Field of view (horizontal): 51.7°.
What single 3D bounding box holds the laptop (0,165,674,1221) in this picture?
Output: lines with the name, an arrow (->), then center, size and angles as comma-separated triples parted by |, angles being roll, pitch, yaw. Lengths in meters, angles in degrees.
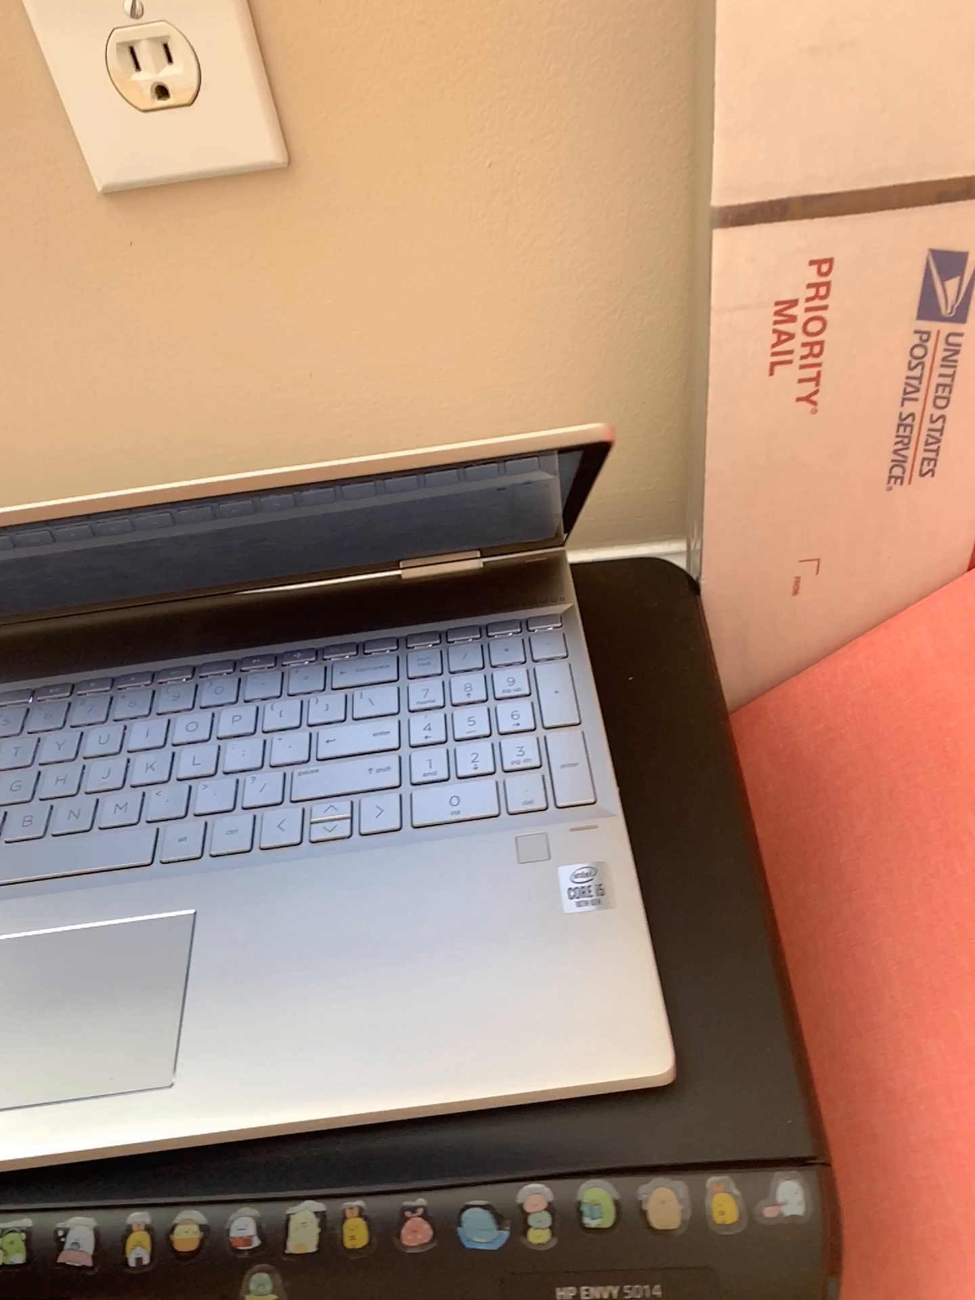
laptop -> -0.141, 0.003, 0.320 | 0.350, 0.169, 0.238 | -8, 45, 1
